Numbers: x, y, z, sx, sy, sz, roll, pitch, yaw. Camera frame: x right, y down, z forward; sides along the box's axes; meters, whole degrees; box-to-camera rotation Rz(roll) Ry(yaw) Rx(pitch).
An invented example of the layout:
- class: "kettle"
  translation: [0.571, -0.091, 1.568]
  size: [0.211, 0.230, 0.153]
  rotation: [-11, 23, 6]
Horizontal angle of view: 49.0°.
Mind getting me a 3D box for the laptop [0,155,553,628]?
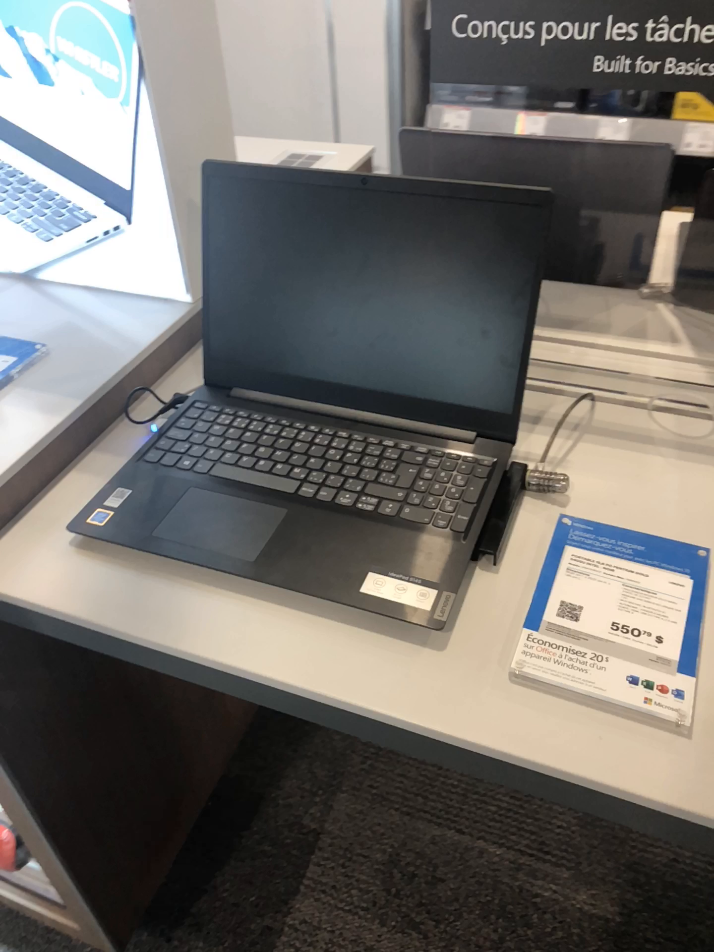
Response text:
- class: "laptop"
  translation: [-0.042, -0.105, 0.699]
  size: [0.346, 0.213, 0.324]
  rotation: [12, 44, 19]
